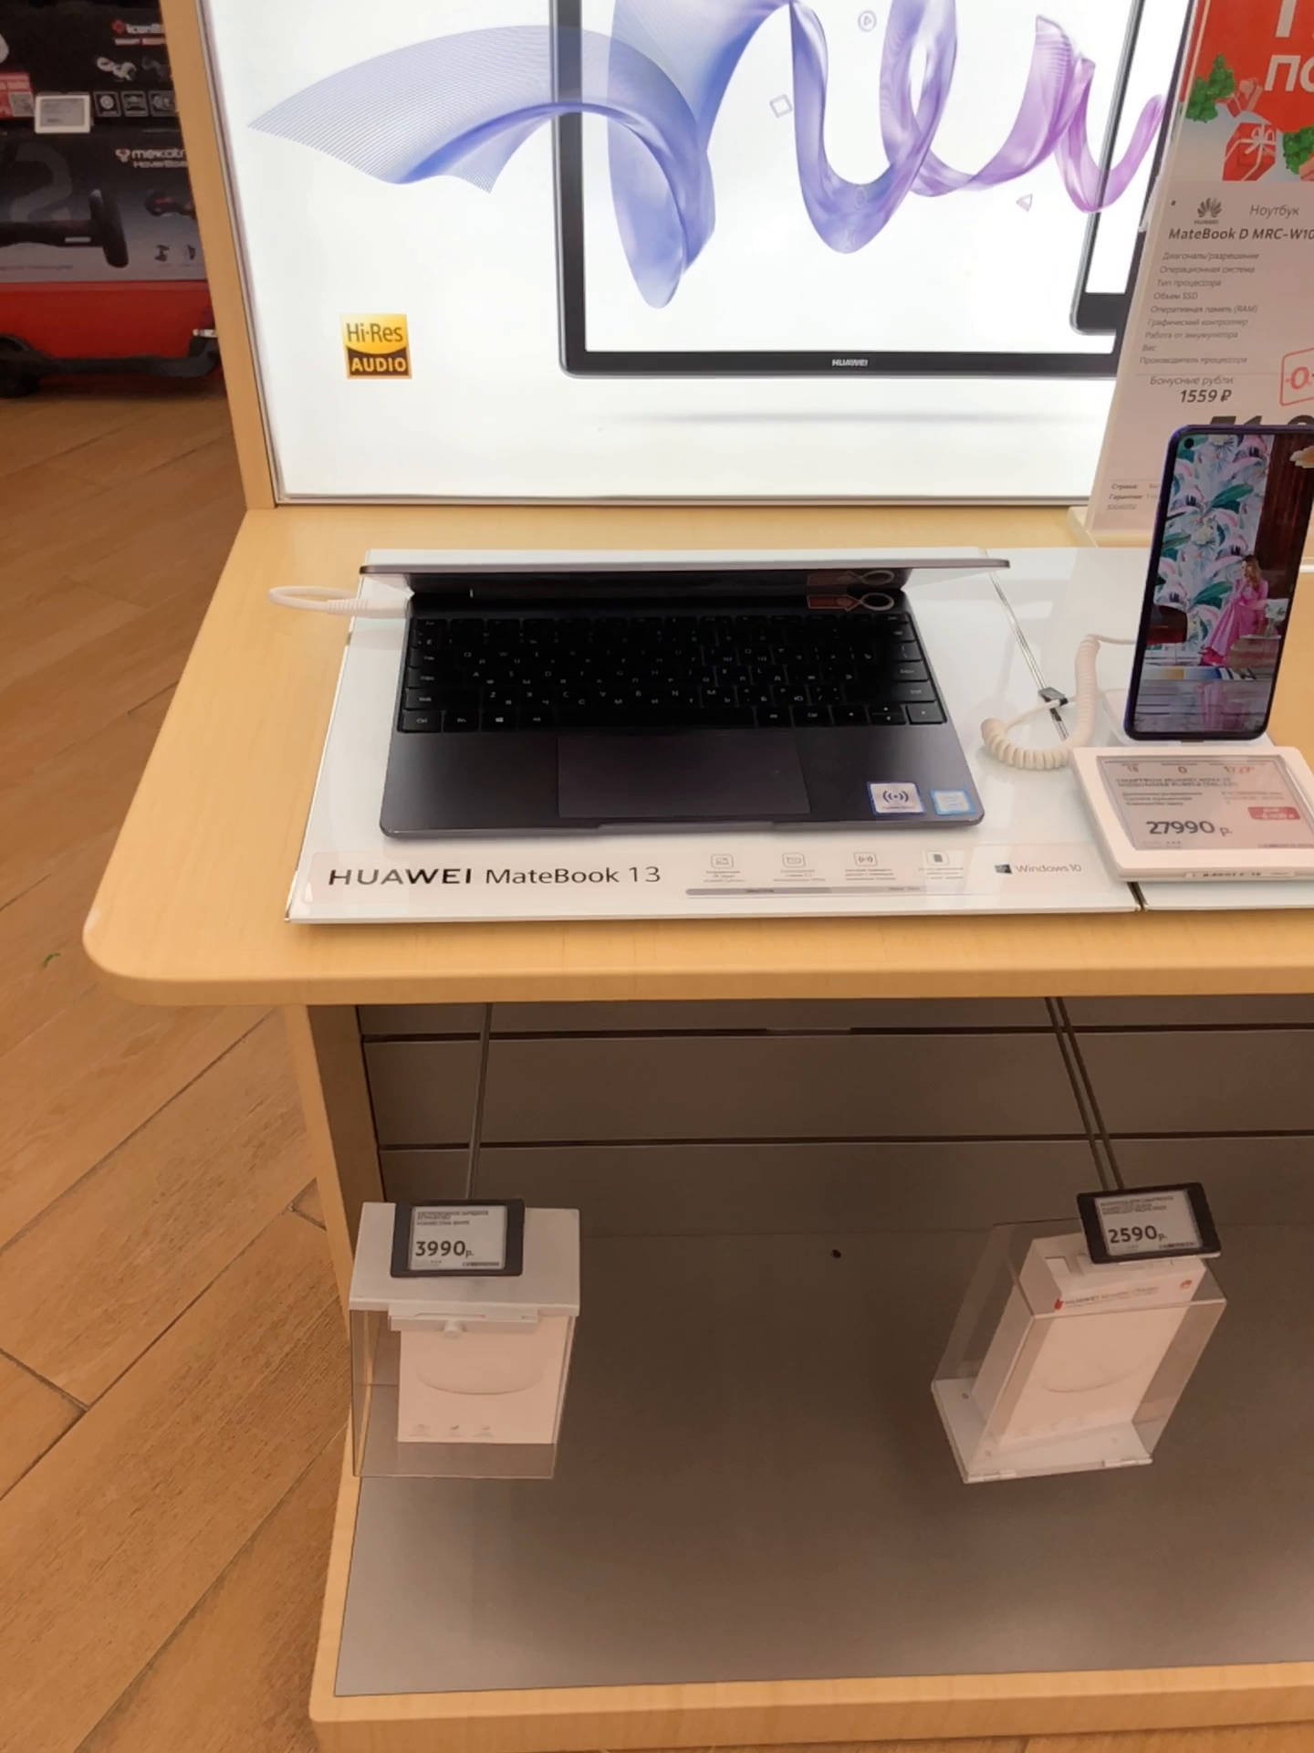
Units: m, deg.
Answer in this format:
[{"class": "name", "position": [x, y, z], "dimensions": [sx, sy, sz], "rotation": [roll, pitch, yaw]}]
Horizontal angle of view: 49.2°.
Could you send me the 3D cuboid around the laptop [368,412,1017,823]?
[{"class": "laptop", "position": [0.013, -0.133, 0.708], "dimensions": [0.271, 0.106, 0.205], "rotation": [0, 40, -3]}]
